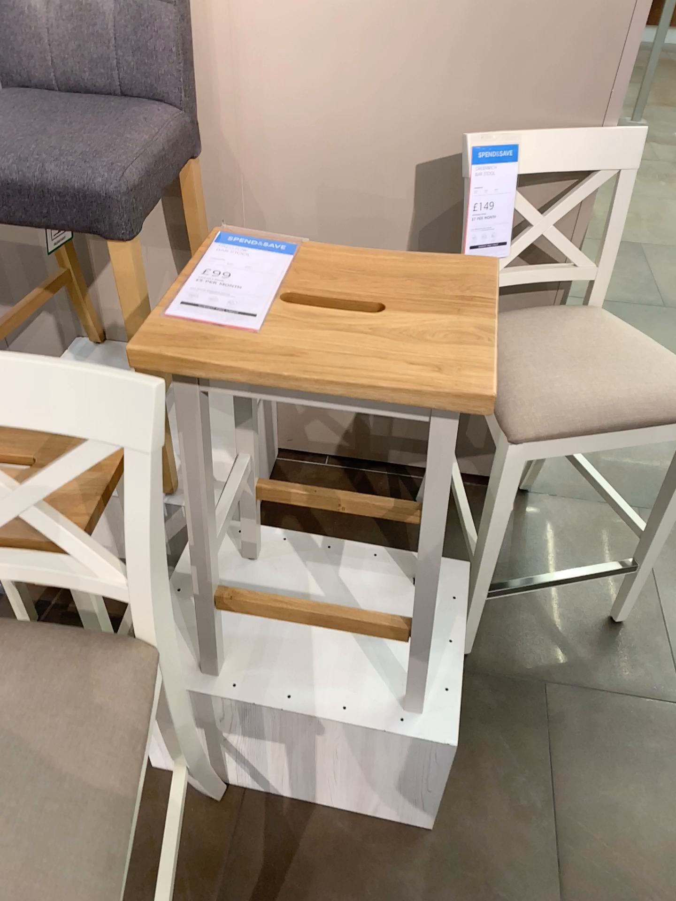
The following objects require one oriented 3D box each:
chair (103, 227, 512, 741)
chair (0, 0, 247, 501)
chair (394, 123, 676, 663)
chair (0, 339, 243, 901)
[{"bbox_3d":[-0.018,0.073,0.986,0.397,0.638,0.324,8,41,6],"label":"chair"},{"bbox_3d":[-0.493,-0.474,1.276,0.467,0.984,0.536,7,41,6],"label":"chair"},{"bbox_3d":[0.430,-0.086,1.420,0.417,0.944,0.516,-8,42,-11],"label":"chair"},{"bbox_3d":[-0.396,0.428,0.801,0.437,0.954,0.506,3,41,1],"label":"chair"}]
